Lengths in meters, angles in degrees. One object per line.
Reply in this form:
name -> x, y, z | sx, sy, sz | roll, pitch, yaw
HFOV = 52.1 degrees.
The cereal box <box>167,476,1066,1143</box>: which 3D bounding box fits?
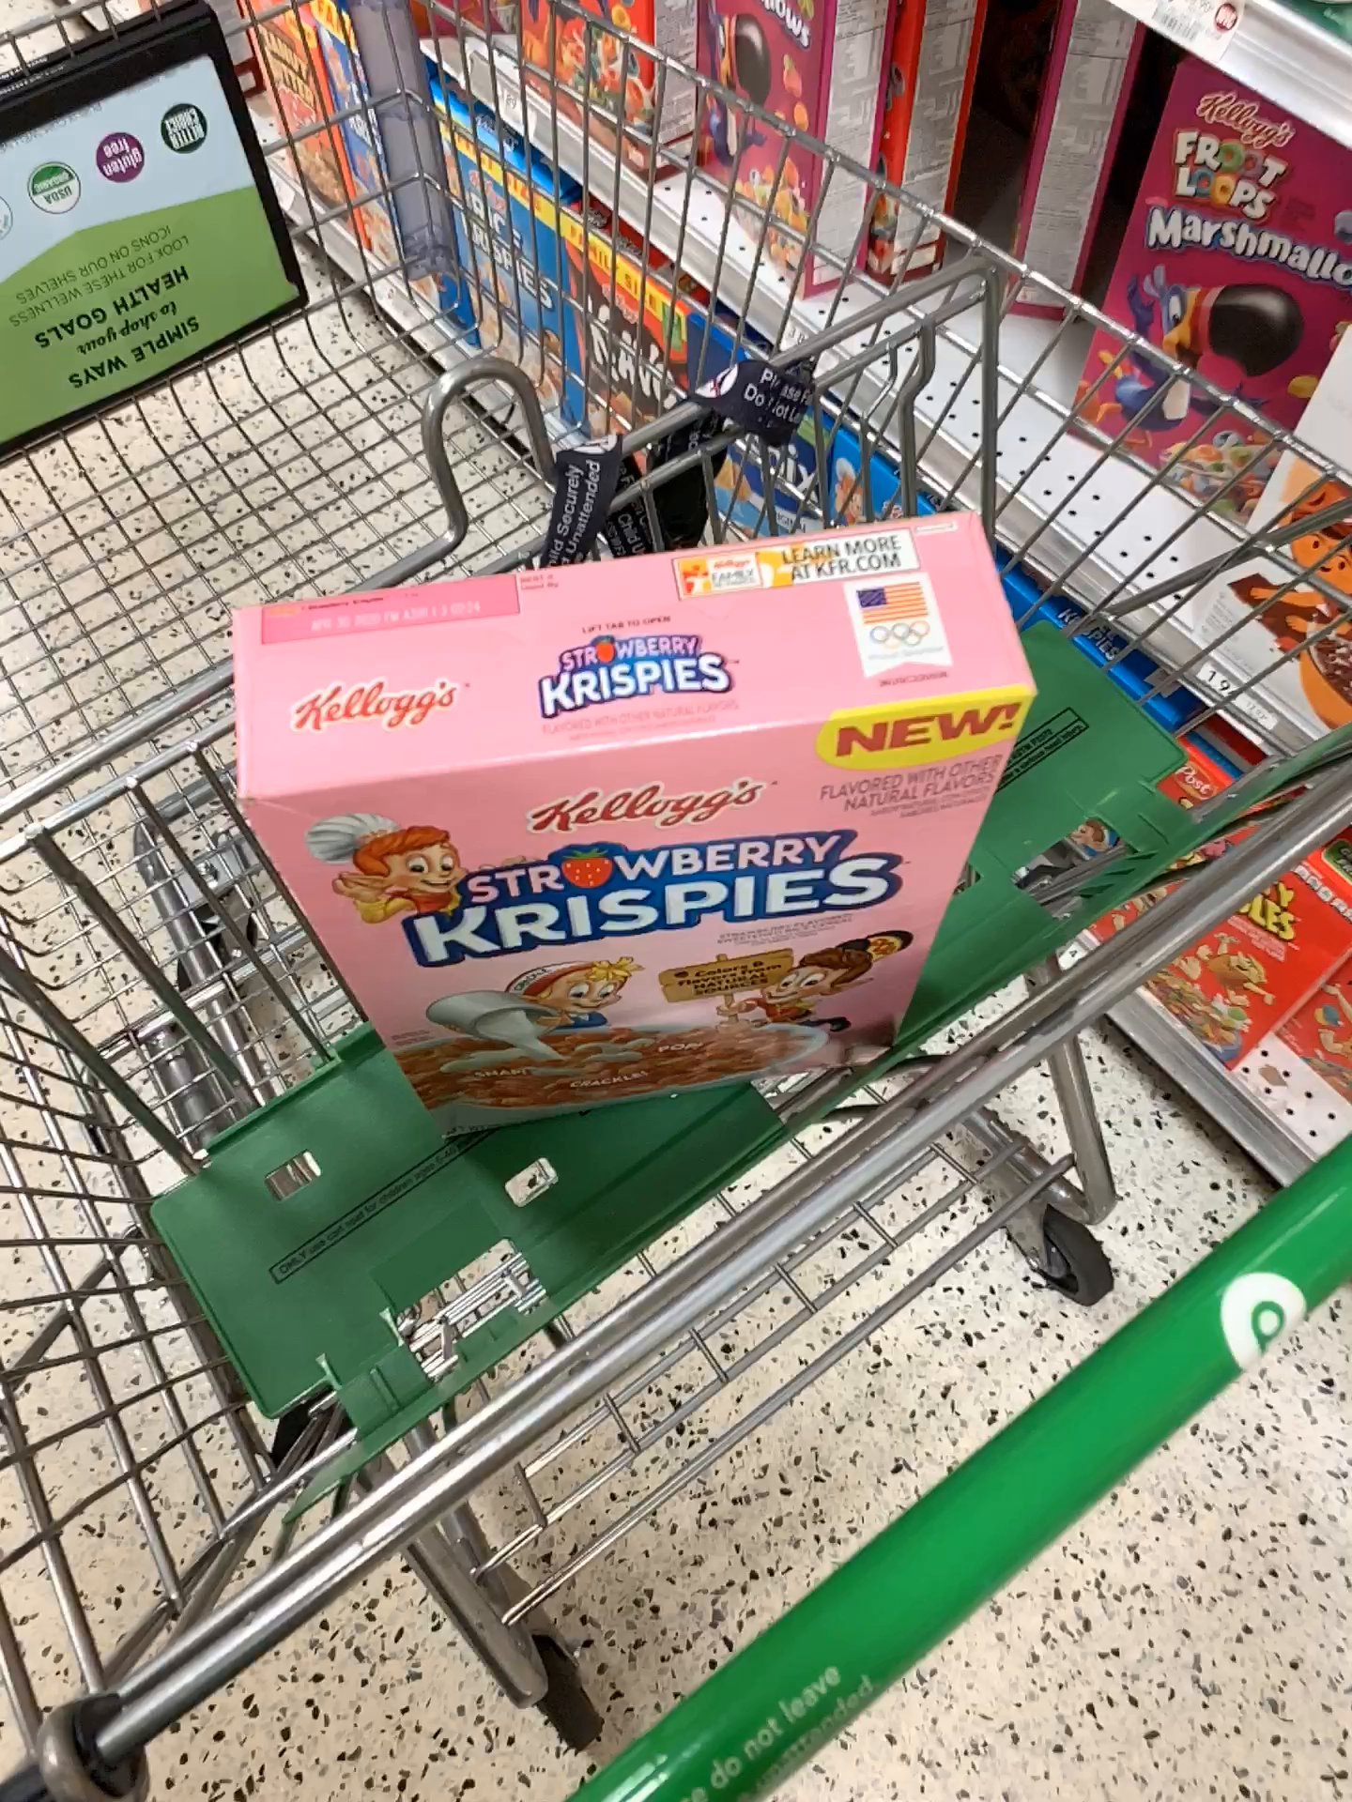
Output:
cereal box -> -0.017, -0.004, 0.468 | 0.210, 0.298, 0.060 | -9, 65, -5
